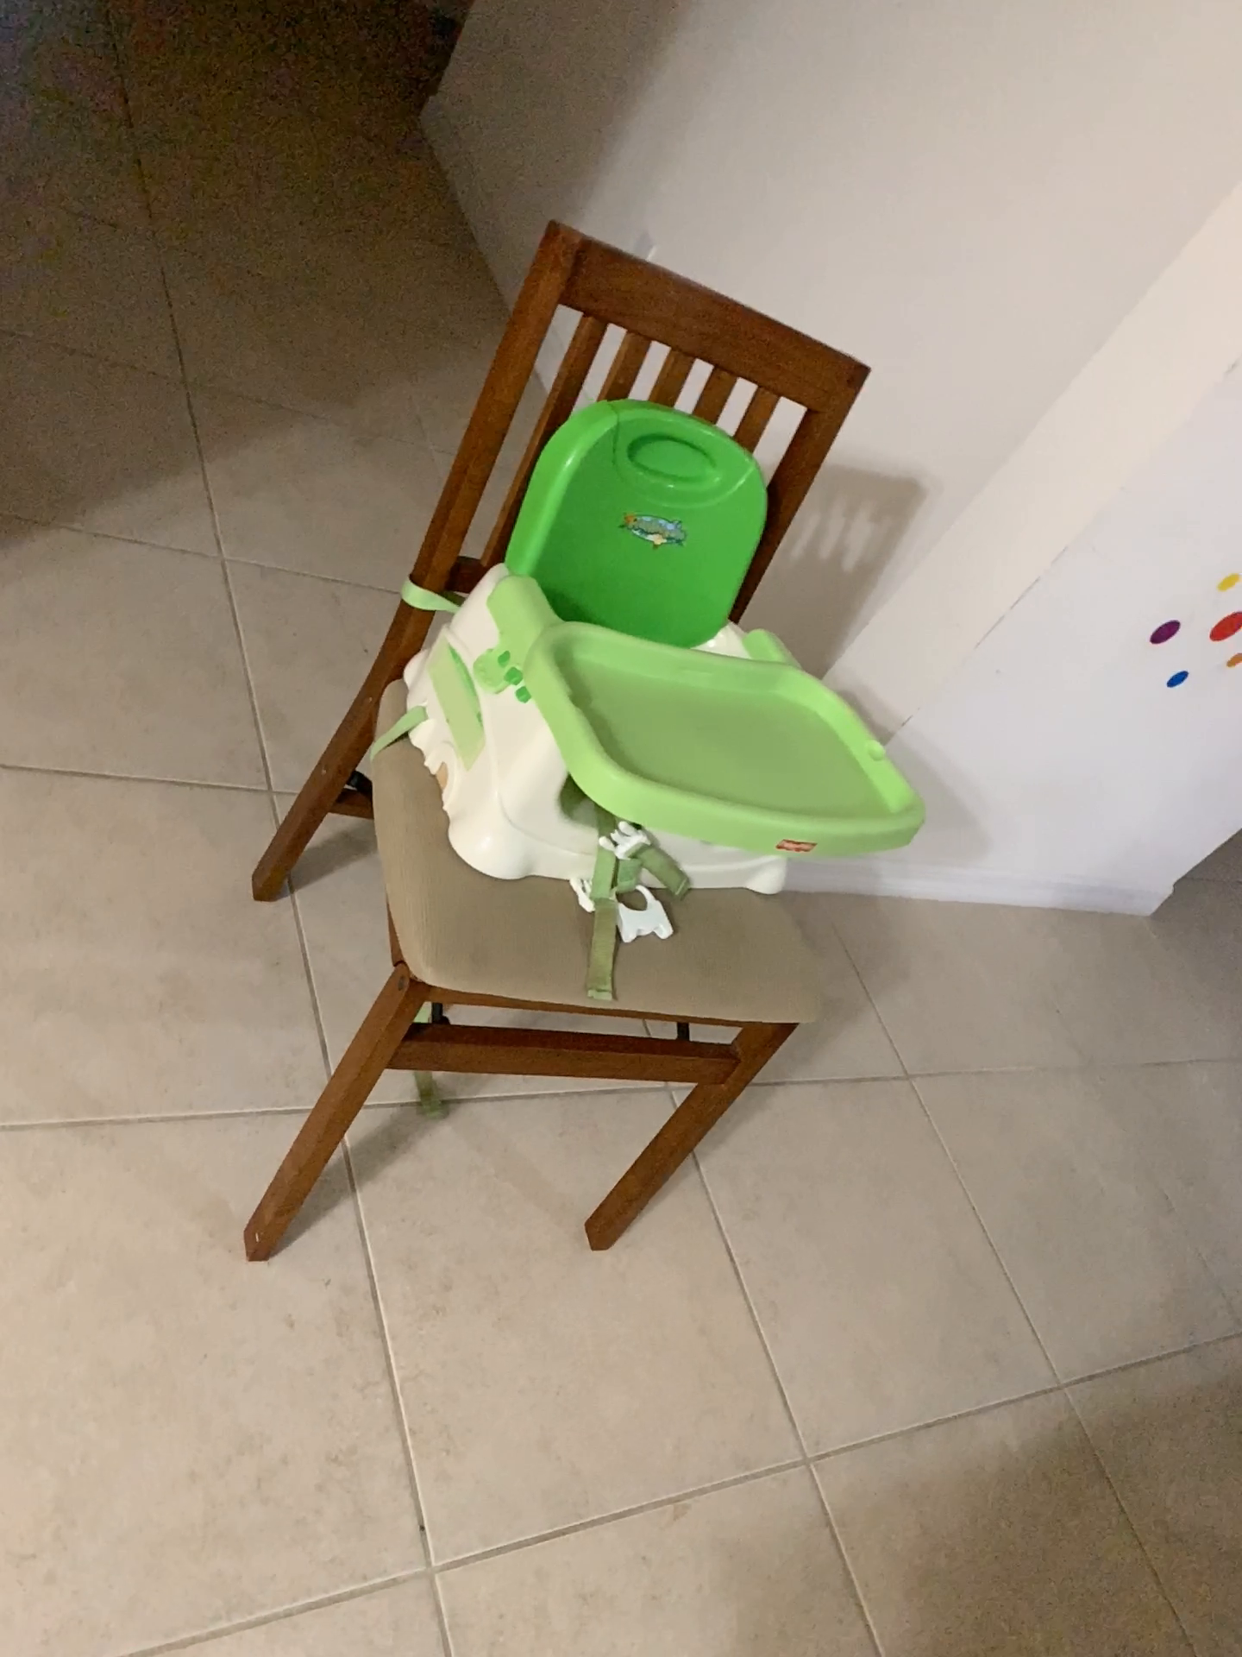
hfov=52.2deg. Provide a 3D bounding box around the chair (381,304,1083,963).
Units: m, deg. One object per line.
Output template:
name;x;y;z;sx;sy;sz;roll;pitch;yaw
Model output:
chair;0.070;-0.146;1.115;0.406;0.328;0.386;8;46;-33

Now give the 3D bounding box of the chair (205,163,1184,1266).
chair;-0.050;-0.027;1.264;0.456;0.882;0.558;11;44;-31
